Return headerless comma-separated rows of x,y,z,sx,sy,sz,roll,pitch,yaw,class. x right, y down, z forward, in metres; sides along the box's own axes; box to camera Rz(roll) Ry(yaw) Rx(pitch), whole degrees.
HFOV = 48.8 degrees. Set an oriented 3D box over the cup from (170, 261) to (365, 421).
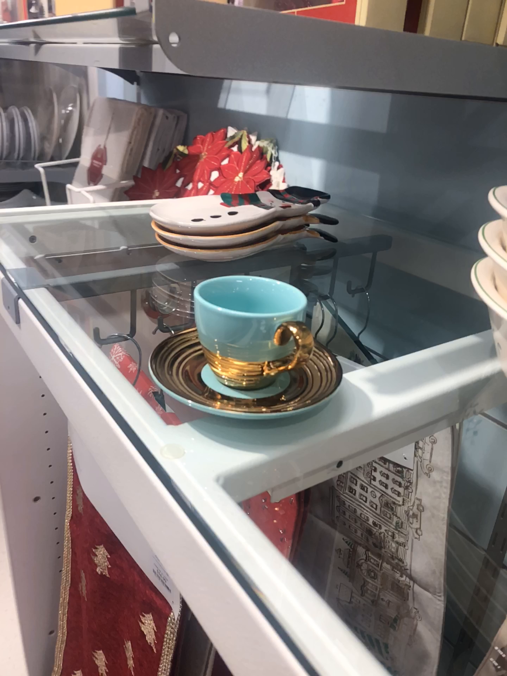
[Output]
0.005,-0.004,0.318,0.070,0.050,0.084,-14,31,-35,cup
